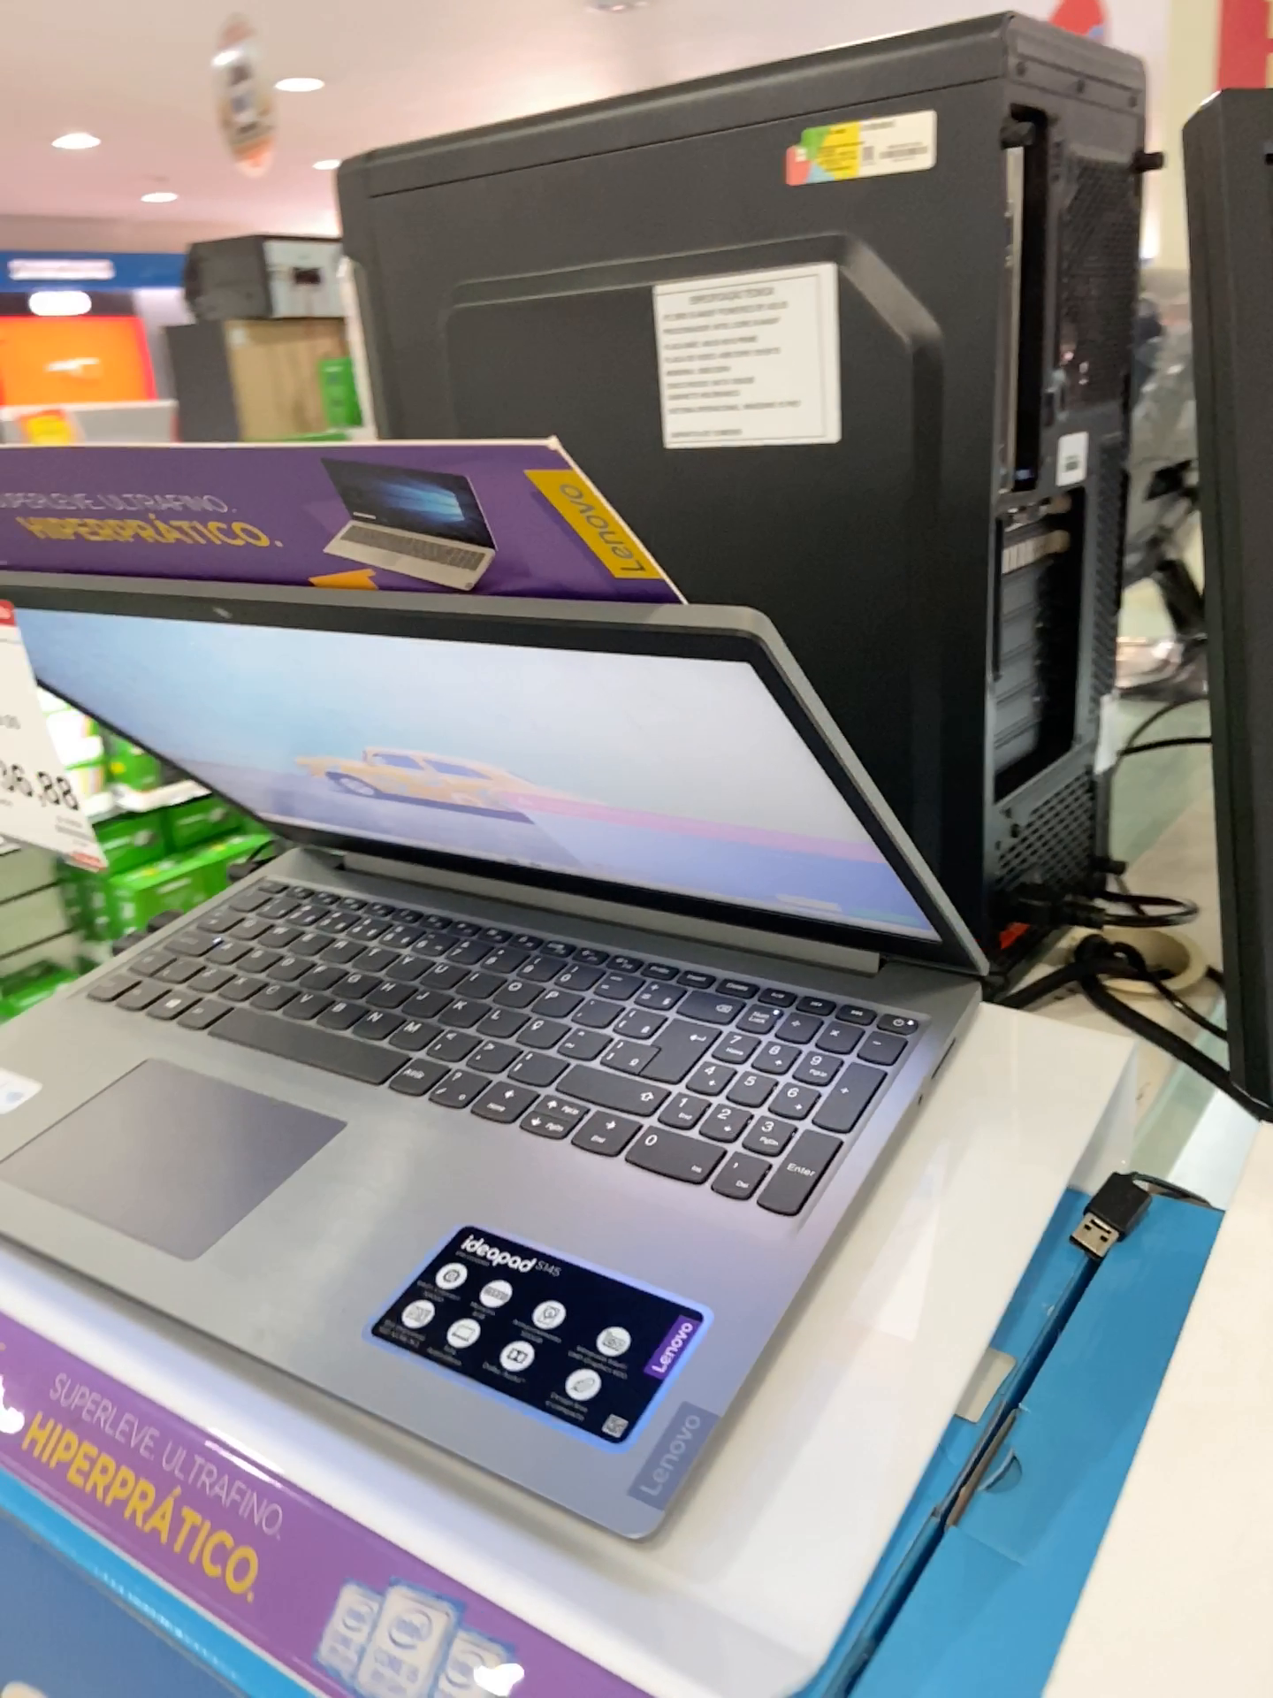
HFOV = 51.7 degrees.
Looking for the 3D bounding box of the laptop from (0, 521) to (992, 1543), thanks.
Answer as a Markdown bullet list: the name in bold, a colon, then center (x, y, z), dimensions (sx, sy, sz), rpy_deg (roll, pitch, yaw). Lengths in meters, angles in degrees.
- **laptop**: center (-0.092, 0.003, 0.457), dimensions (0.357, 0.161, 0.245), rpy_deg (9, 29, 31)
